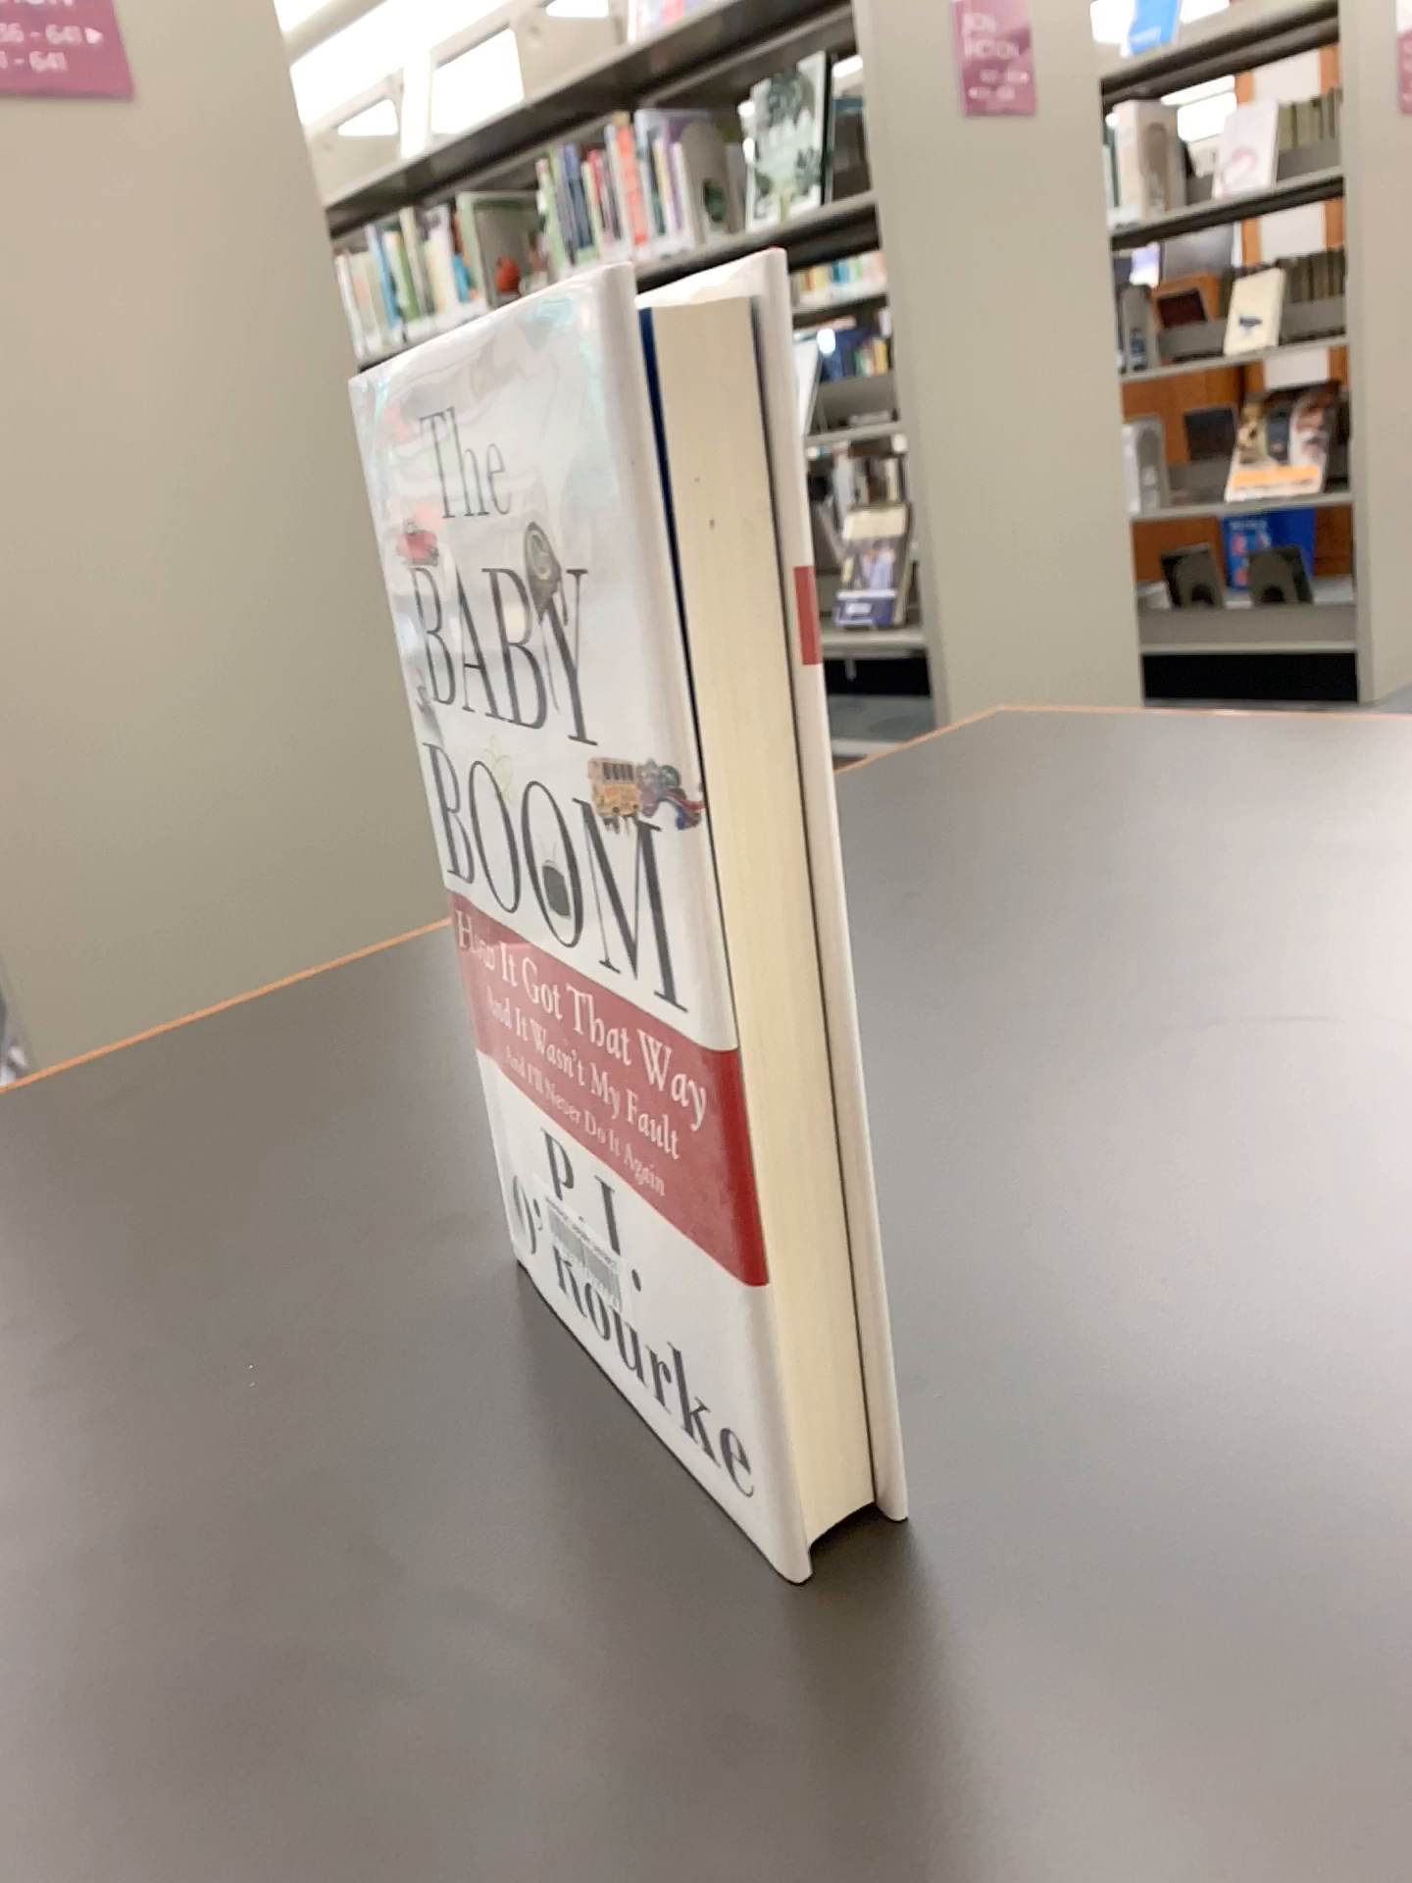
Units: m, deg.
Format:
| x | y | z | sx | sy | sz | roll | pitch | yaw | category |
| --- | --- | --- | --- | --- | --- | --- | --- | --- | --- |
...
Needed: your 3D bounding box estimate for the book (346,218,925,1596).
| x | y | z | sx | sy | sz | roll | pitch | yaw | category |
| --- | --- | --- | --- | --- | --- | --- | --- | --- | --- |
| -0.021 | -0.010 | 0.312 | 0.030 | 0.231 | 0.161 | -15 | 18 | -24 | book |
